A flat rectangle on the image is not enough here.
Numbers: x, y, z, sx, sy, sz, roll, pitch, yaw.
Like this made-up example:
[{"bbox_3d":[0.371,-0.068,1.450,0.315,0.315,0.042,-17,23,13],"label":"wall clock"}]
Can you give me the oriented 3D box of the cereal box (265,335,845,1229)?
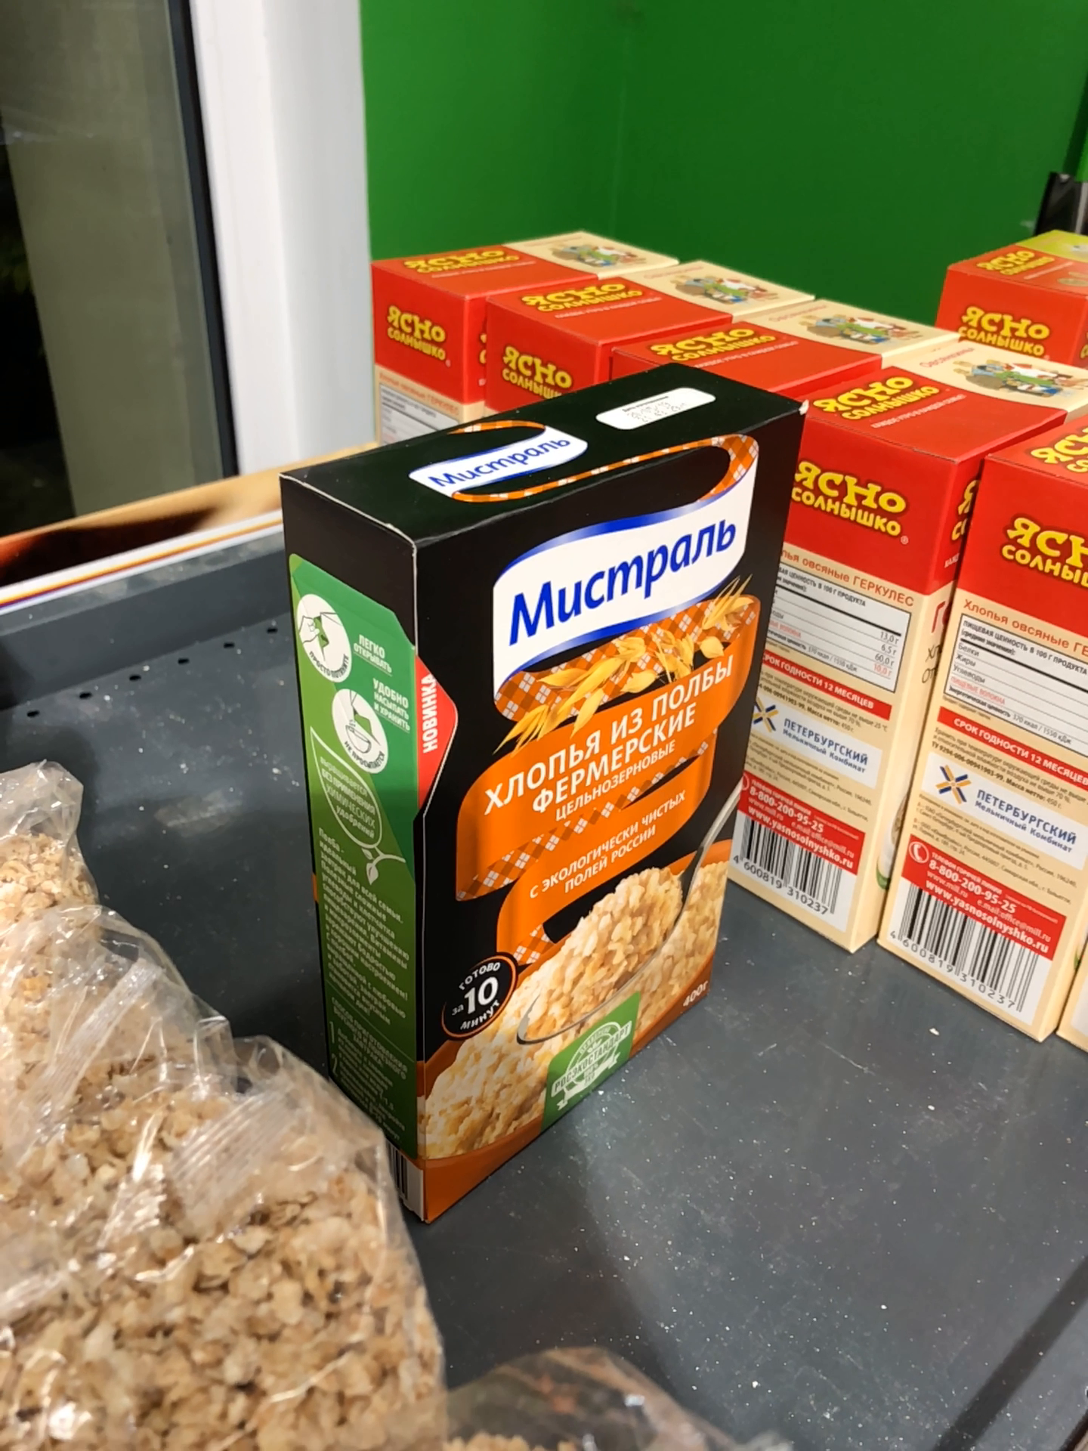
[{"bbox_3d":[0.005,0.015,0.334,0.050,0.209,0.140,30,42,35],"label":"cereal box"}]
